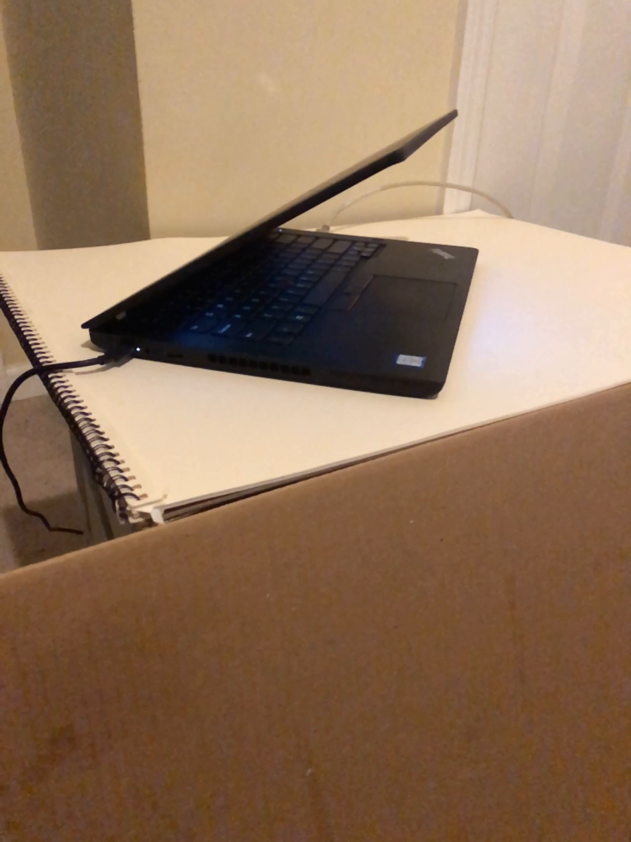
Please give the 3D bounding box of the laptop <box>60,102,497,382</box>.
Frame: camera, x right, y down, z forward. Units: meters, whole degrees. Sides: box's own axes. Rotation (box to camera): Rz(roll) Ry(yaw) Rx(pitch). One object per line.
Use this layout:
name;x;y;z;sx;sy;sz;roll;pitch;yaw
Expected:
laptop;0.006;-0.162;0.524;0.227;0.115;0.319;9;29;13
